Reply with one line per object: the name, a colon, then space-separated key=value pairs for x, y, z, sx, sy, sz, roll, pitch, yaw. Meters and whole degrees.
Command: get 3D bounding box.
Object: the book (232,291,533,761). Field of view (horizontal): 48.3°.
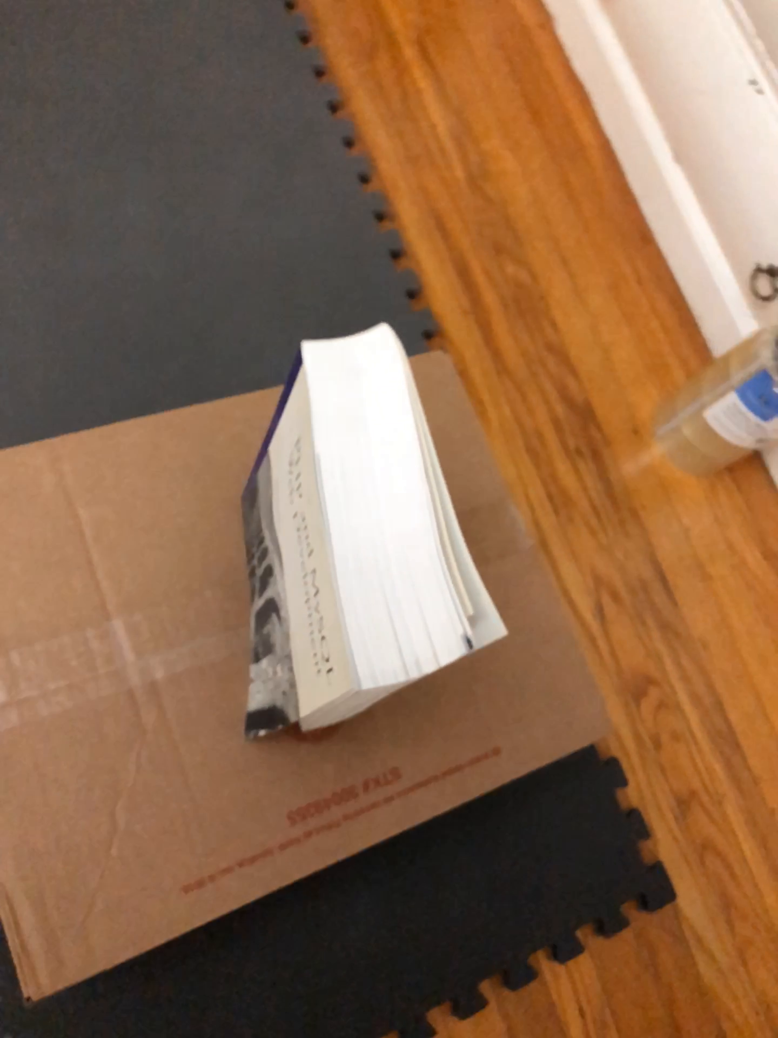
book: x=-0.027 y=0.026 z=0.517 sx=0.090 sy=0.259 sz=0.200 roll=-3 pitch=71 yaw=-17
